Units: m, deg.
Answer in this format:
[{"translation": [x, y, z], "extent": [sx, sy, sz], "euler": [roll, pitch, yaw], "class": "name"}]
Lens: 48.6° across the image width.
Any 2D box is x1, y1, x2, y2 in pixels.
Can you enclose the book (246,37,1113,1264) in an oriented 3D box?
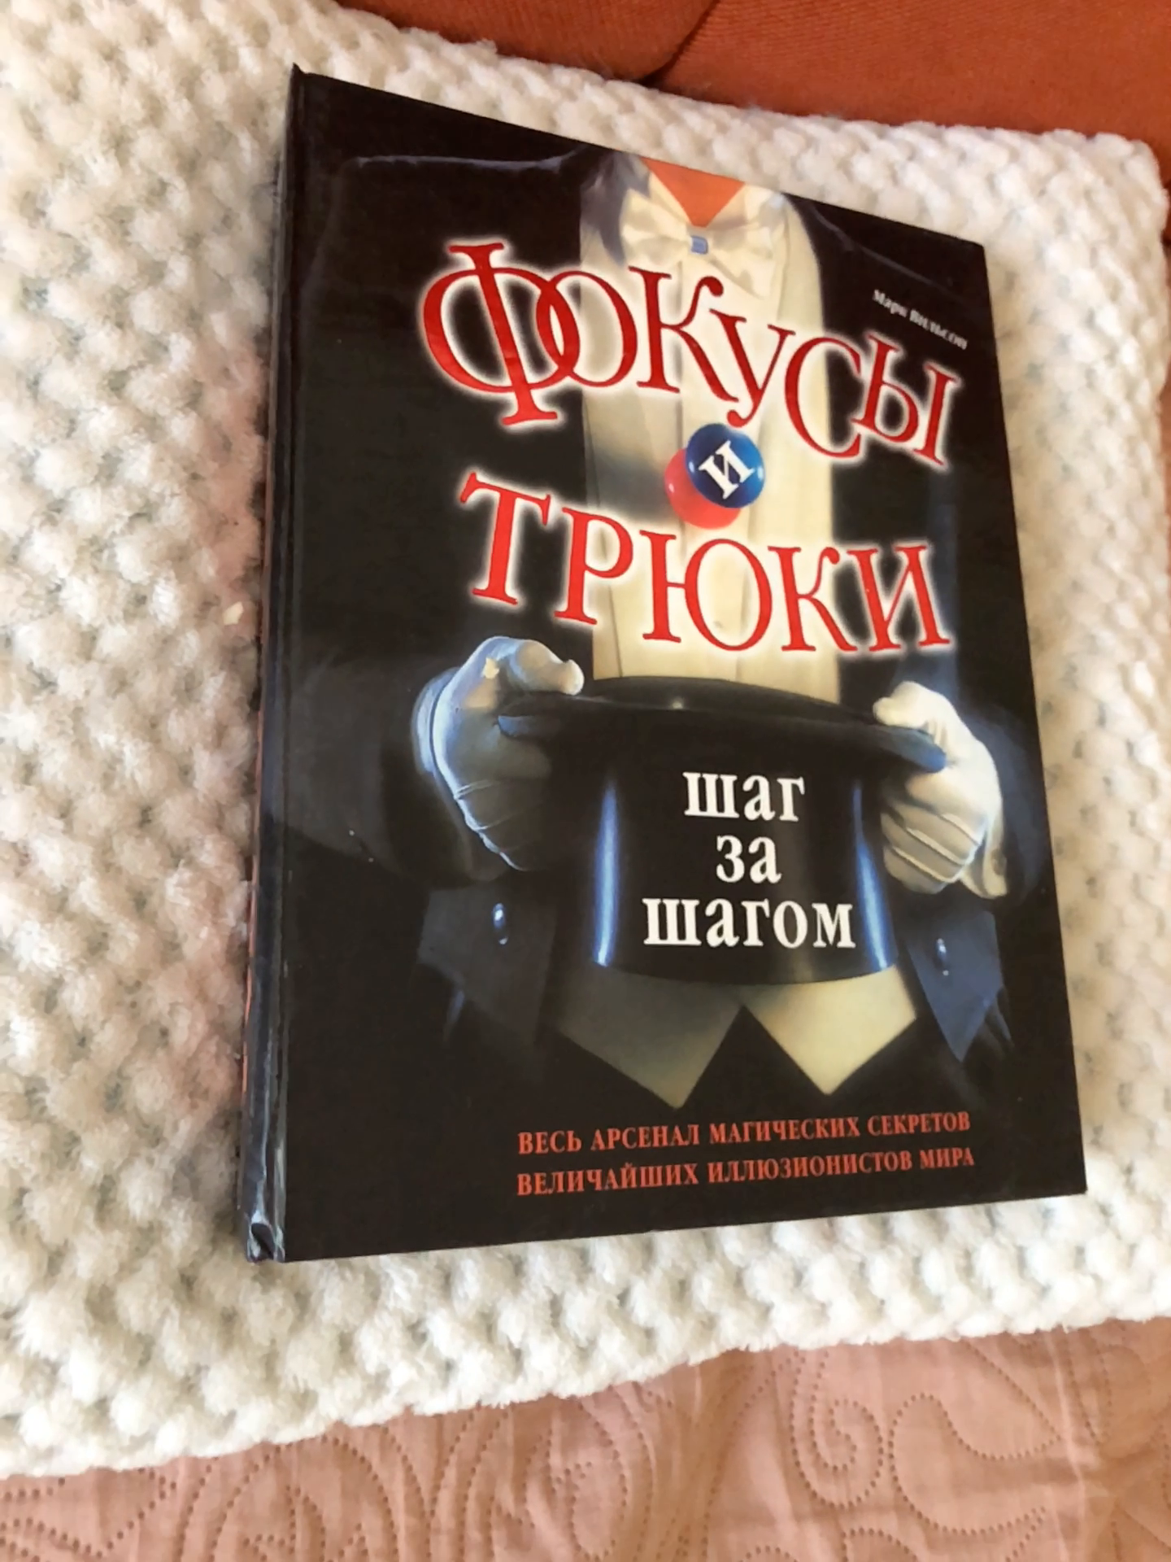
[{"translation": [0.023, -0.033, 0.327], "extent": [0.201, 0.040, 0.270], "euler": [3, 76, -22], "class": "book"}]
